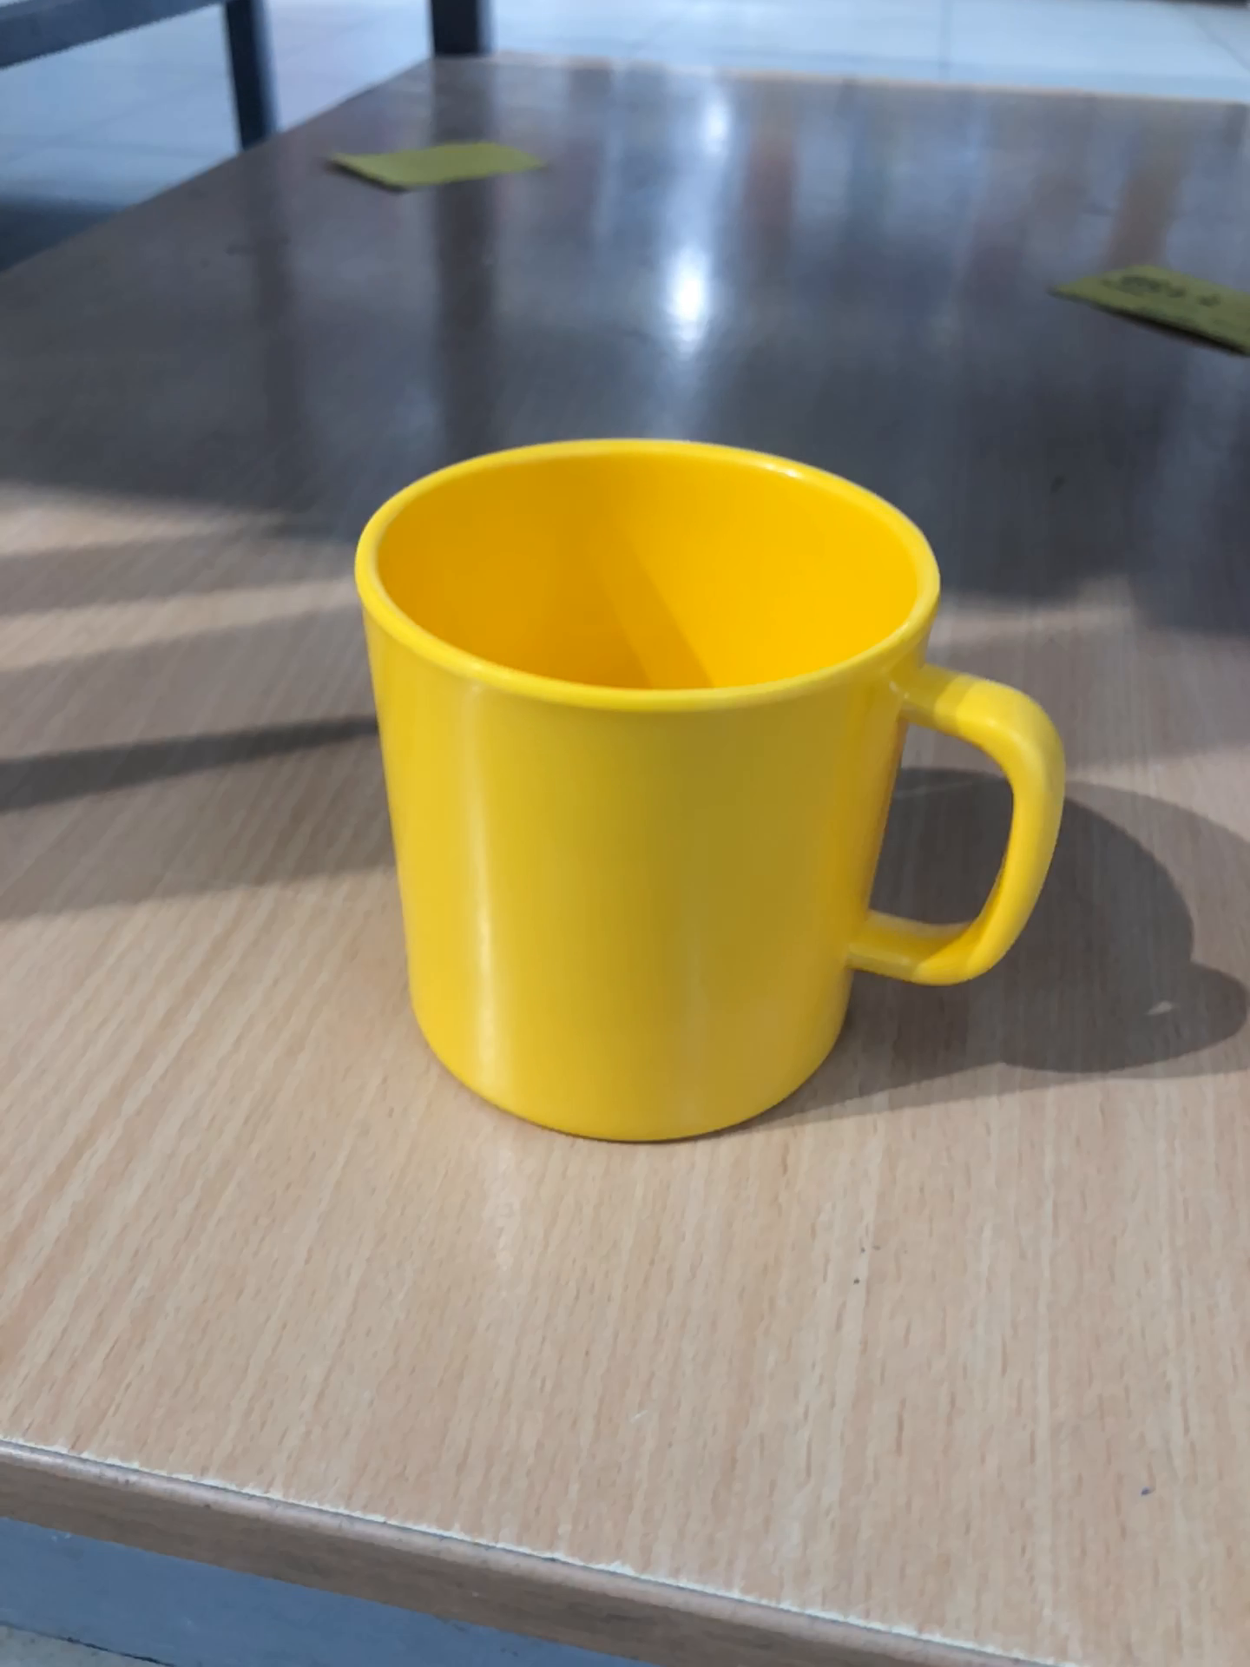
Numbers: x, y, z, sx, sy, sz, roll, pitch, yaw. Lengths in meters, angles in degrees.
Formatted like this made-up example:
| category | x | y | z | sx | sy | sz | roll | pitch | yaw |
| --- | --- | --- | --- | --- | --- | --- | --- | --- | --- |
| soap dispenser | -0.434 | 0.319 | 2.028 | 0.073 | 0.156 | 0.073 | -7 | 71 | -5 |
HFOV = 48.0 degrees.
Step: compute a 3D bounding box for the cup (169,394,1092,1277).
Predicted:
| category | x | y | z | sx | sy | sz | roll | pitch | yaw |
| --- | --- | --- | --- | --- | --- | --- | --- | --- | --- |
| cup | 0.005 | -0.006 | 0.226 | 0.110 | 0.089 | 0.081 | 14 | 38 | 16 |
